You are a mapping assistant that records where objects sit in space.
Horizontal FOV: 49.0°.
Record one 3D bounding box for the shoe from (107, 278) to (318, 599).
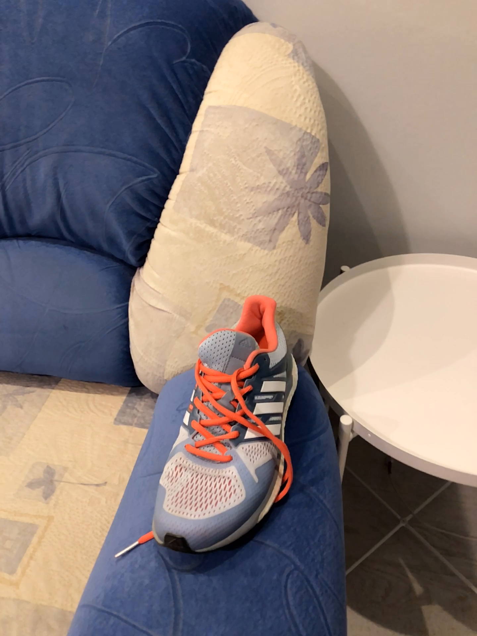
[{"bbox_3d":[-0.004,0.090,0.497,0.107,0.109,0.272,9,41,13],"label":"shoe"}]
